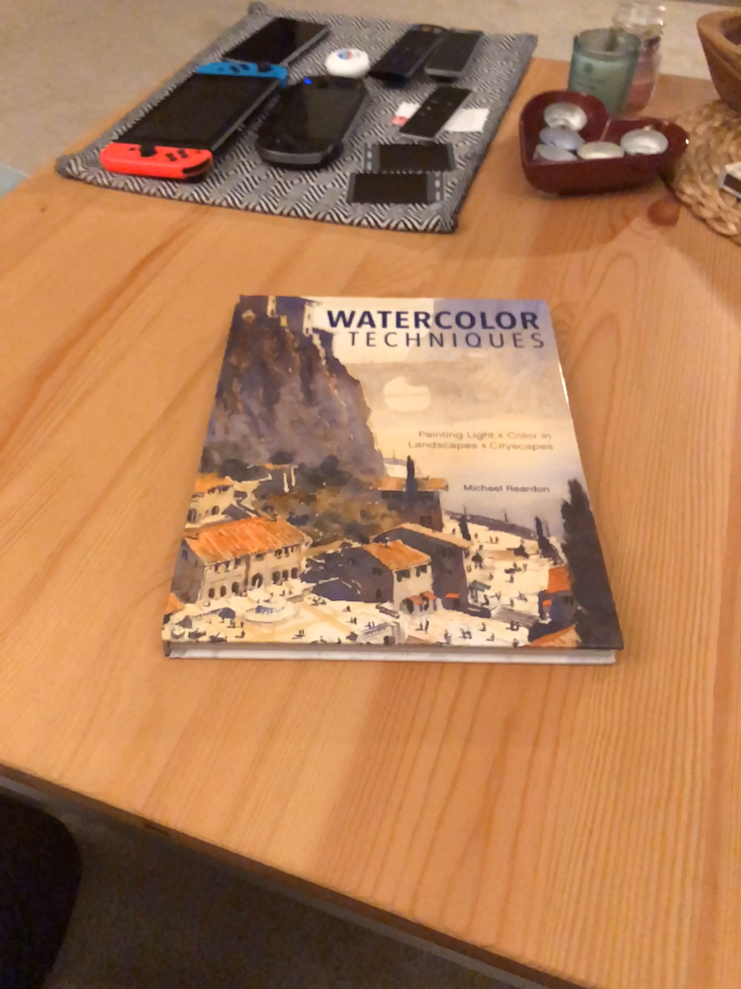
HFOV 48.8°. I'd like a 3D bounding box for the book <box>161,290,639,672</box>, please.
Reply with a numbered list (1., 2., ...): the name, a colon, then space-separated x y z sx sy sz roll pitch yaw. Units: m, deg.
1. book: 0.014 -0.028 0.466 0.213 0.020 0.280 0 47 0
